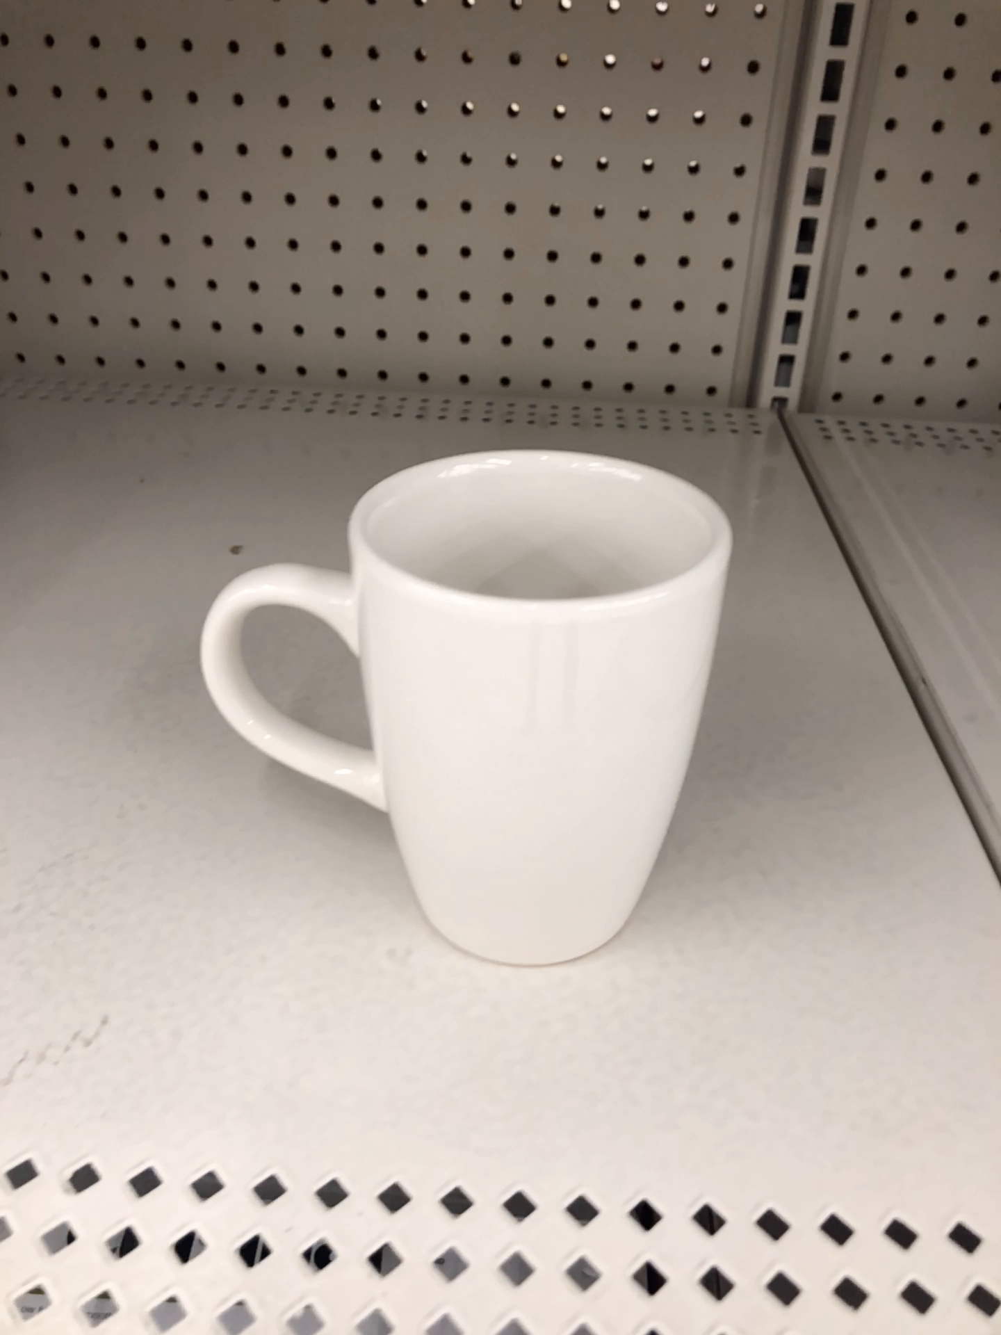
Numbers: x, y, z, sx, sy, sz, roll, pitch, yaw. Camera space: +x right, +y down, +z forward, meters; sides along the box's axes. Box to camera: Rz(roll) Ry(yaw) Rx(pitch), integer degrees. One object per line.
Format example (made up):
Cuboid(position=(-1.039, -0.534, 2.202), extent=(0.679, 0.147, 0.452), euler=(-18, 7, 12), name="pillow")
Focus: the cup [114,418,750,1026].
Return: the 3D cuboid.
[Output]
Cuboid(position=(-0.011, 0.008, 0.280), extent=(0.125, 0.105, 0.081), euler=(9, 32, 13), name="cup")
